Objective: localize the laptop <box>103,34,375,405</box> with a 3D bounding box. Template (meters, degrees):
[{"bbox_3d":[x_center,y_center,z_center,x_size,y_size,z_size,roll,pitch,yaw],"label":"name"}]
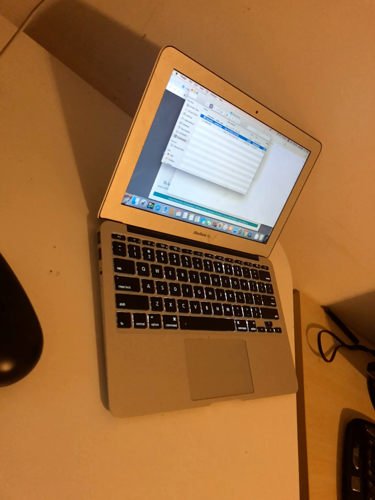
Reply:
[{"bbox_3d":[0.068,-0.012,0.458,0.281,0.127,0.305,12,62,-41],"label":"laptop"}]
